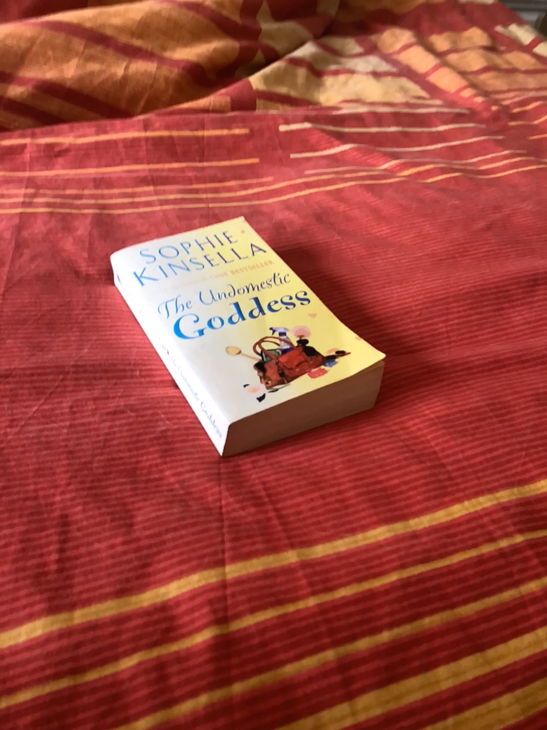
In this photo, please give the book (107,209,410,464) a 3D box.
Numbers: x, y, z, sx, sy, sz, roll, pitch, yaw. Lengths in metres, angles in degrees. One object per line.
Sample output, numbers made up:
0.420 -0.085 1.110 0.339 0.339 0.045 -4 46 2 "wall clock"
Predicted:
-0.019 -0.033 0.395 0.120 0.040 0.180 -17 47 -26 "book"
